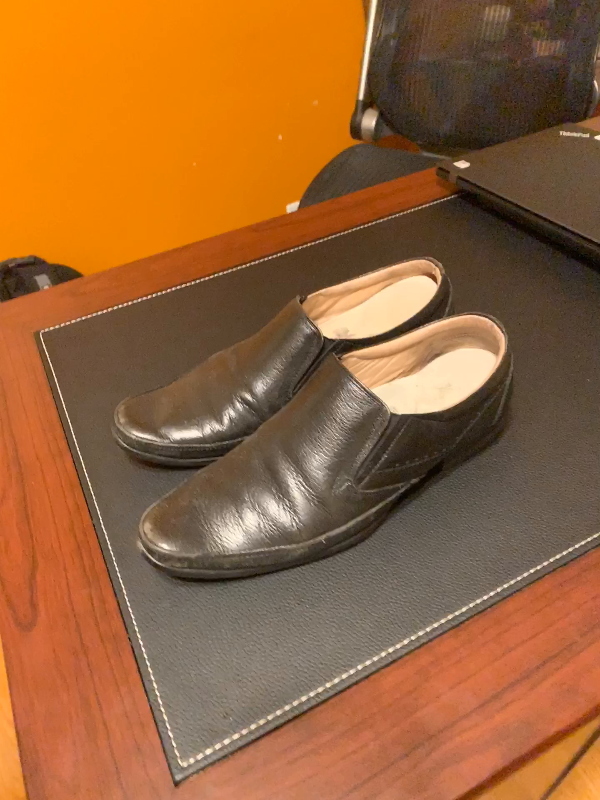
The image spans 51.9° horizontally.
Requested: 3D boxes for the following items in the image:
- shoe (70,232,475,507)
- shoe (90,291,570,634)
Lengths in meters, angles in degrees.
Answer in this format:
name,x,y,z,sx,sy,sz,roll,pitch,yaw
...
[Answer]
name,x,y,z,sx,sy,sz,roll,pitch,yaw
shoe,-0.017,-0.035,0.488,0.285,0.077,0.111,-21,46,-16
shoe,0.023,0.028,0.413,0.285,0.077,0.106,-21,46,-16
